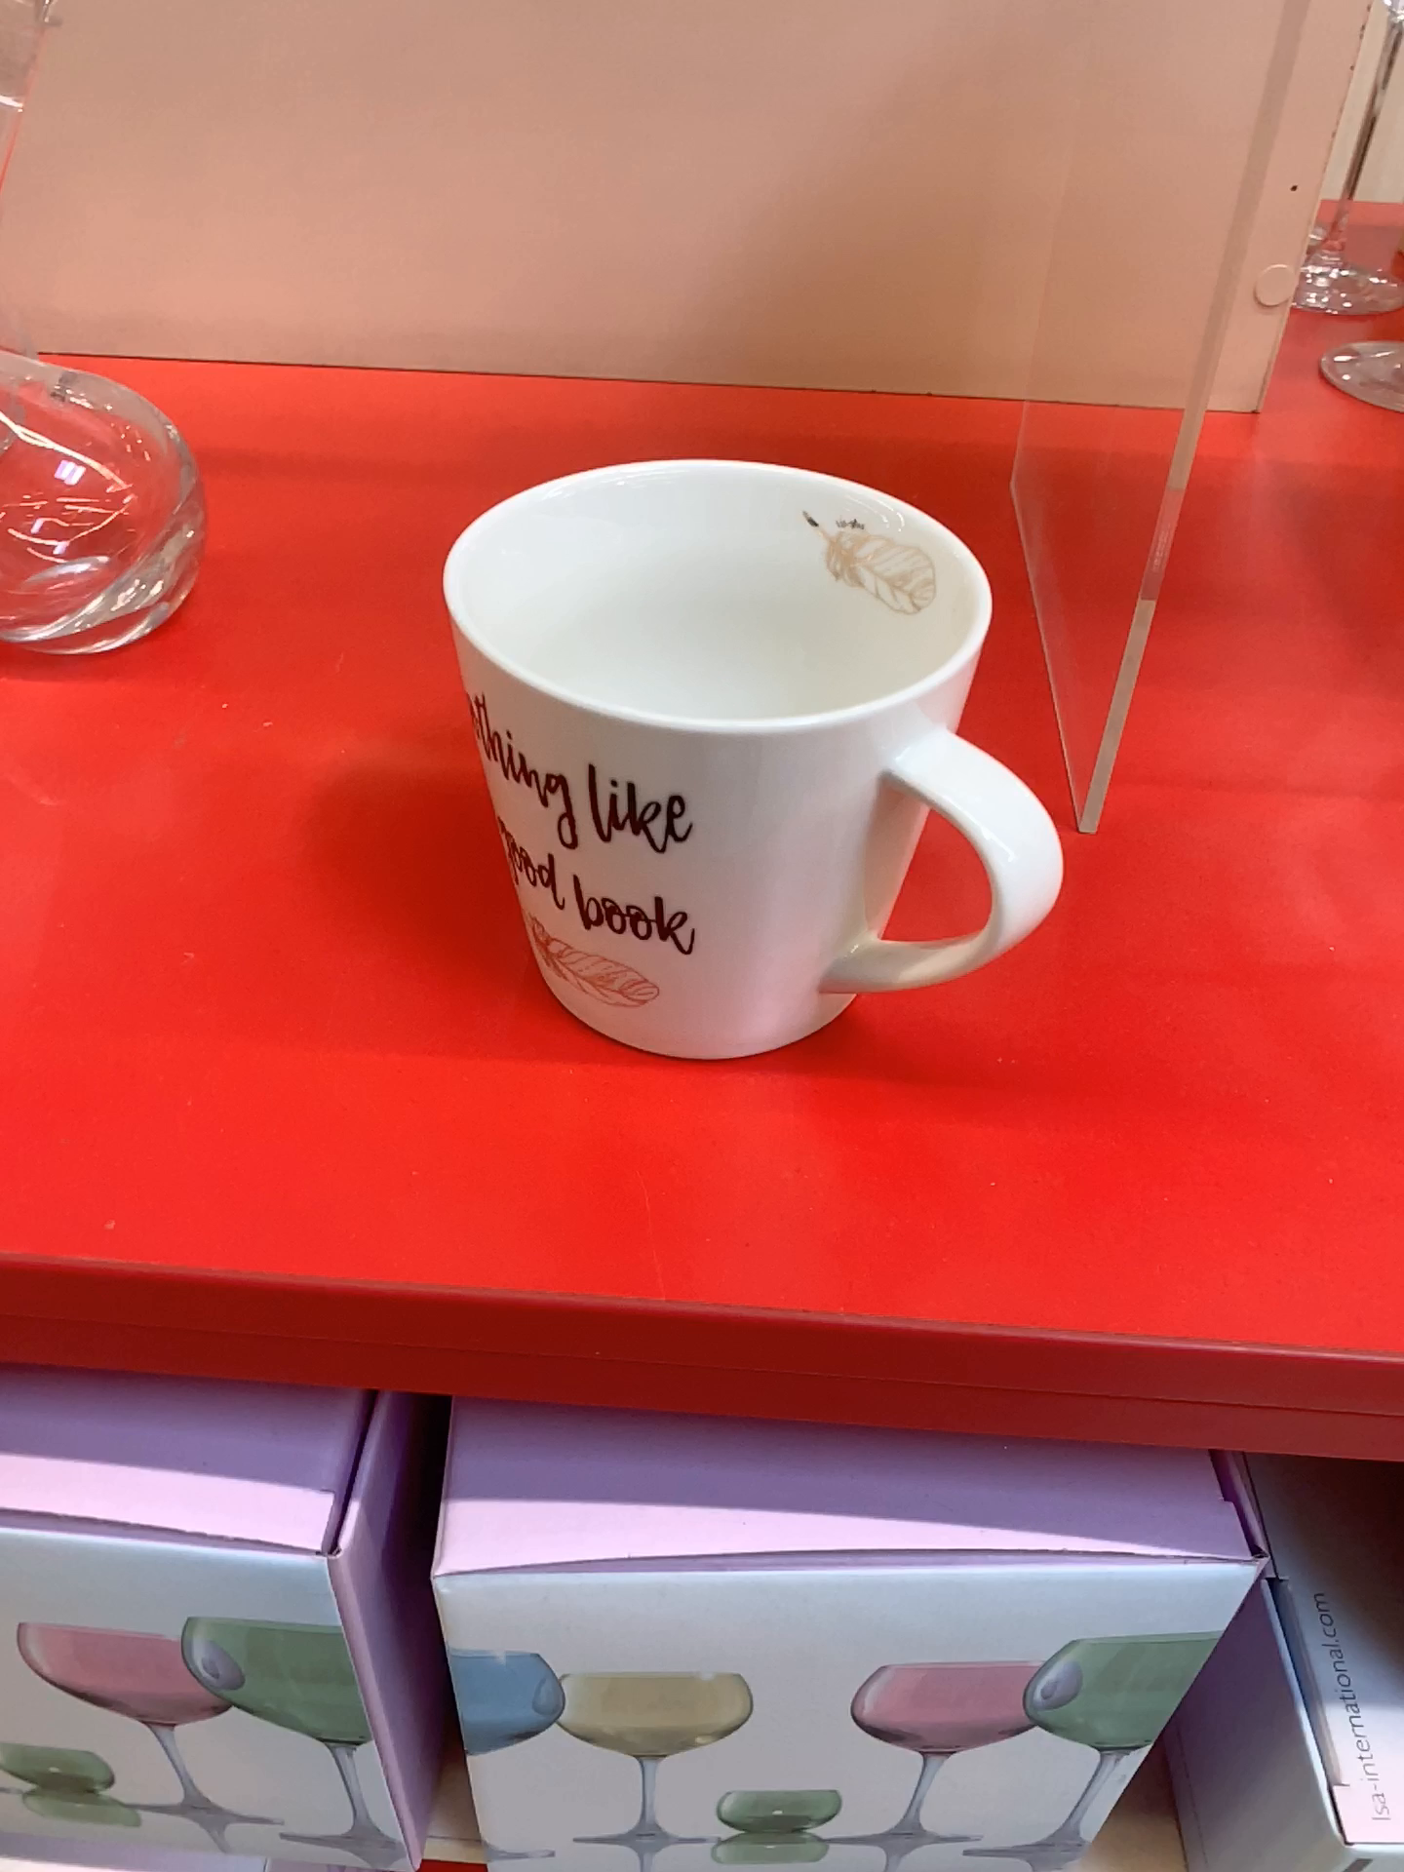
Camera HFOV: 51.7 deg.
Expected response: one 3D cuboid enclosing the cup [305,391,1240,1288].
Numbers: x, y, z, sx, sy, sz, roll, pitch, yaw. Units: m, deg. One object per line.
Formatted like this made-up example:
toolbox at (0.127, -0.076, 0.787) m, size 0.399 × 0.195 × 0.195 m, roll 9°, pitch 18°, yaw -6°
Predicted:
cup at (0.007, -0.027, 0.270) m, size 0.090 × 0.090 × 0.130 m, roll -30°, pitch 50°, yaw -32°
